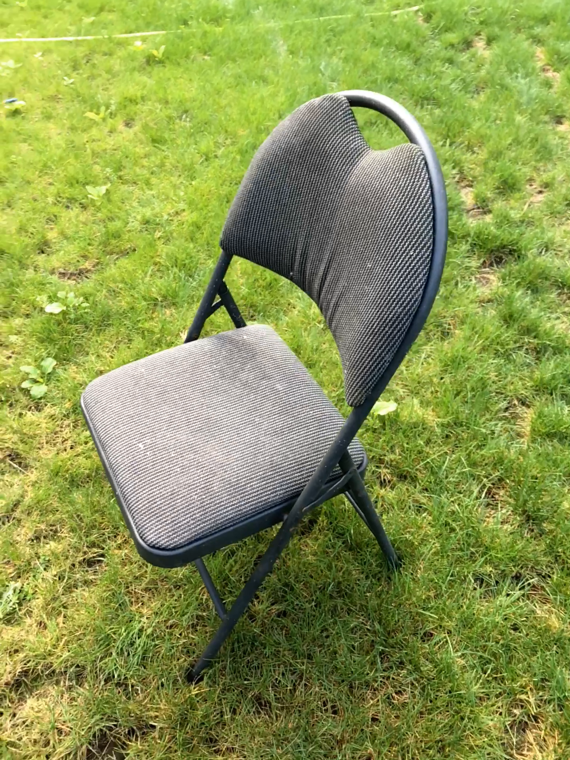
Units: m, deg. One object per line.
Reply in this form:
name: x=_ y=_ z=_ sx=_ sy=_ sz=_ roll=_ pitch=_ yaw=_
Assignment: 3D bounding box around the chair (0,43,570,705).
chair: x=-0.065 y=0.013 z=1.032 sx=0.570 sy=0.815 sz=0.533 roll=-21 pitch=50 yaw=-18
